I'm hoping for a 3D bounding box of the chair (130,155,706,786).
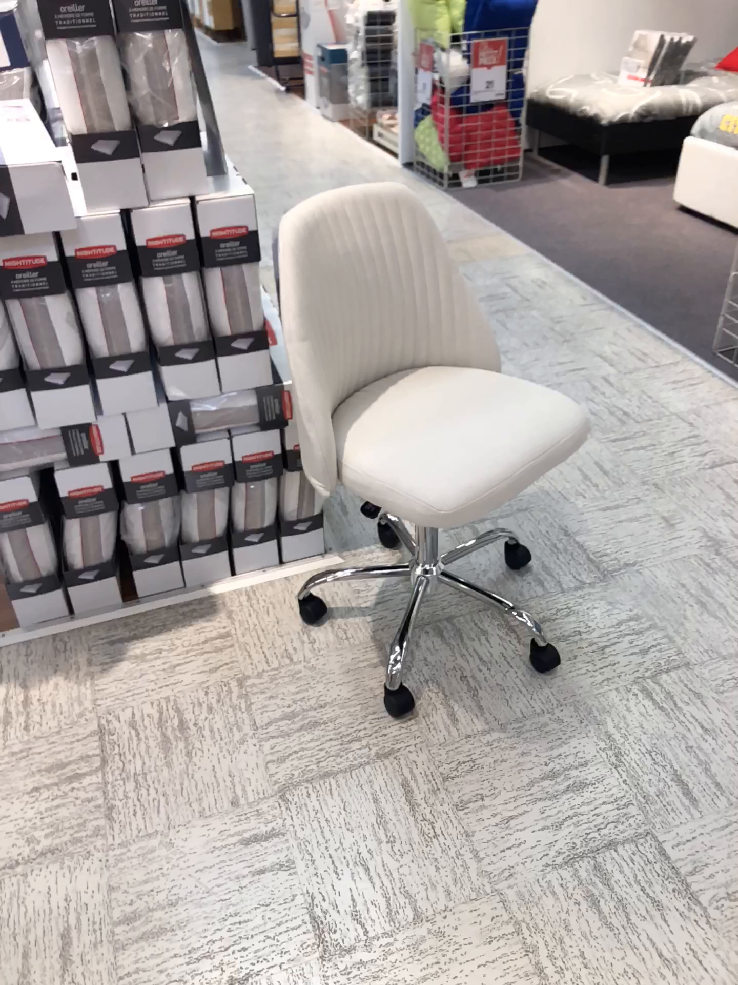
[{"bbox_3d":[0.115,-0.106,1.505,0.630,0.785,0.704,22,41,30],"label":"chair"}]
